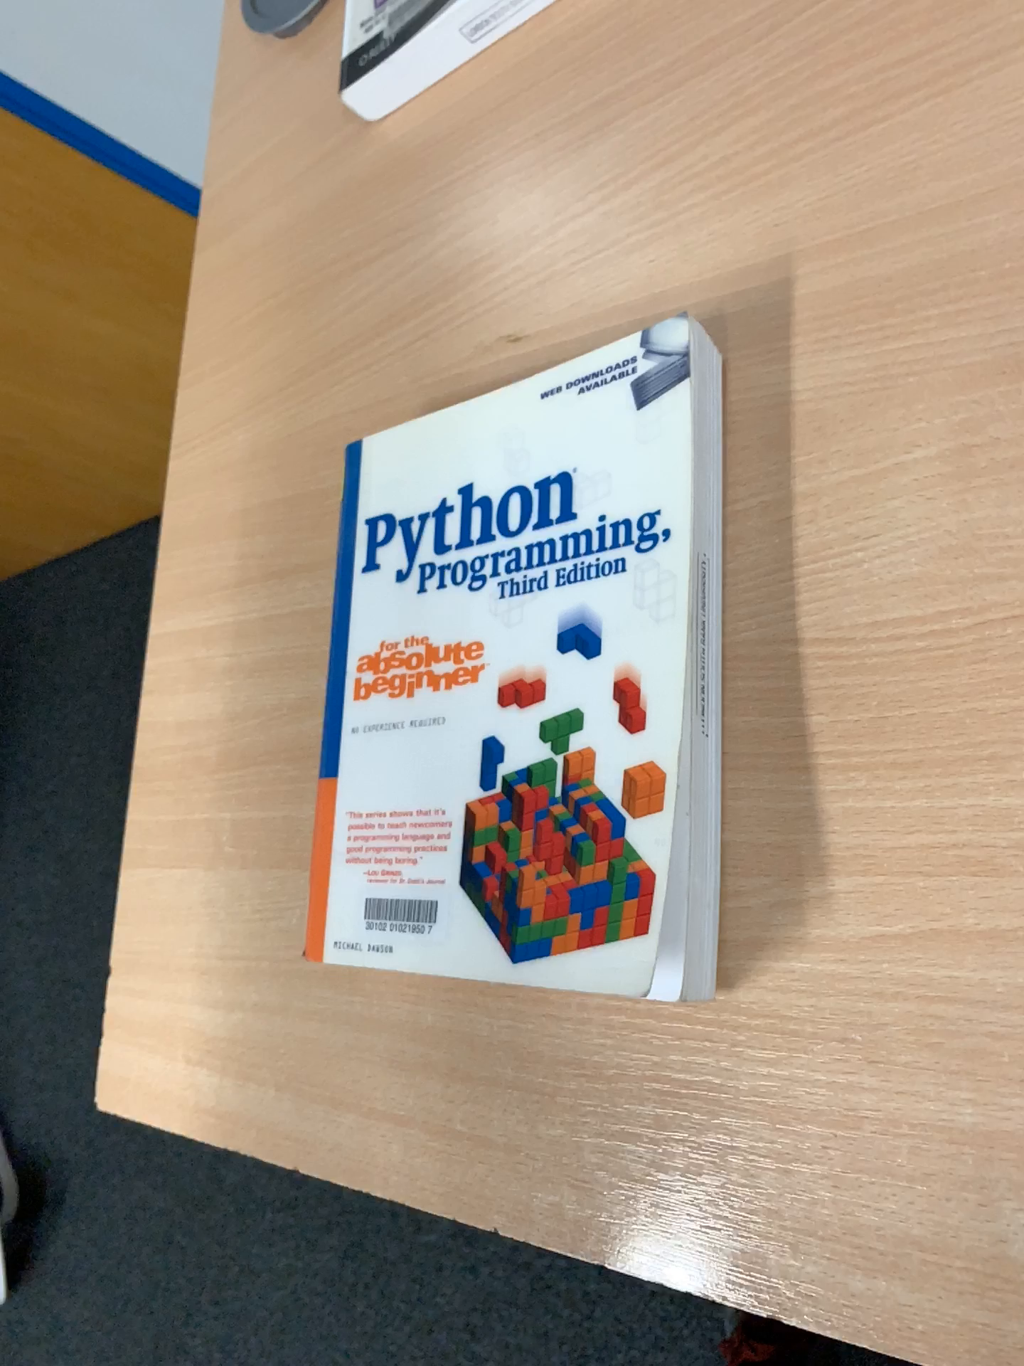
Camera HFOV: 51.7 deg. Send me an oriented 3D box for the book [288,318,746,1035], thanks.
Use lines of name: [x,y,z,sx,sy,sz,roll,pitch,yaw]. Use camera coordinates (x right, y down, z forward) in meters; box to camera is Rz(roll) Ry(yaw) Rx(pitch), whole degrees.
book: [-0.003,0.002,0.386,0.175,0.039,0.219,-8,74,41]
